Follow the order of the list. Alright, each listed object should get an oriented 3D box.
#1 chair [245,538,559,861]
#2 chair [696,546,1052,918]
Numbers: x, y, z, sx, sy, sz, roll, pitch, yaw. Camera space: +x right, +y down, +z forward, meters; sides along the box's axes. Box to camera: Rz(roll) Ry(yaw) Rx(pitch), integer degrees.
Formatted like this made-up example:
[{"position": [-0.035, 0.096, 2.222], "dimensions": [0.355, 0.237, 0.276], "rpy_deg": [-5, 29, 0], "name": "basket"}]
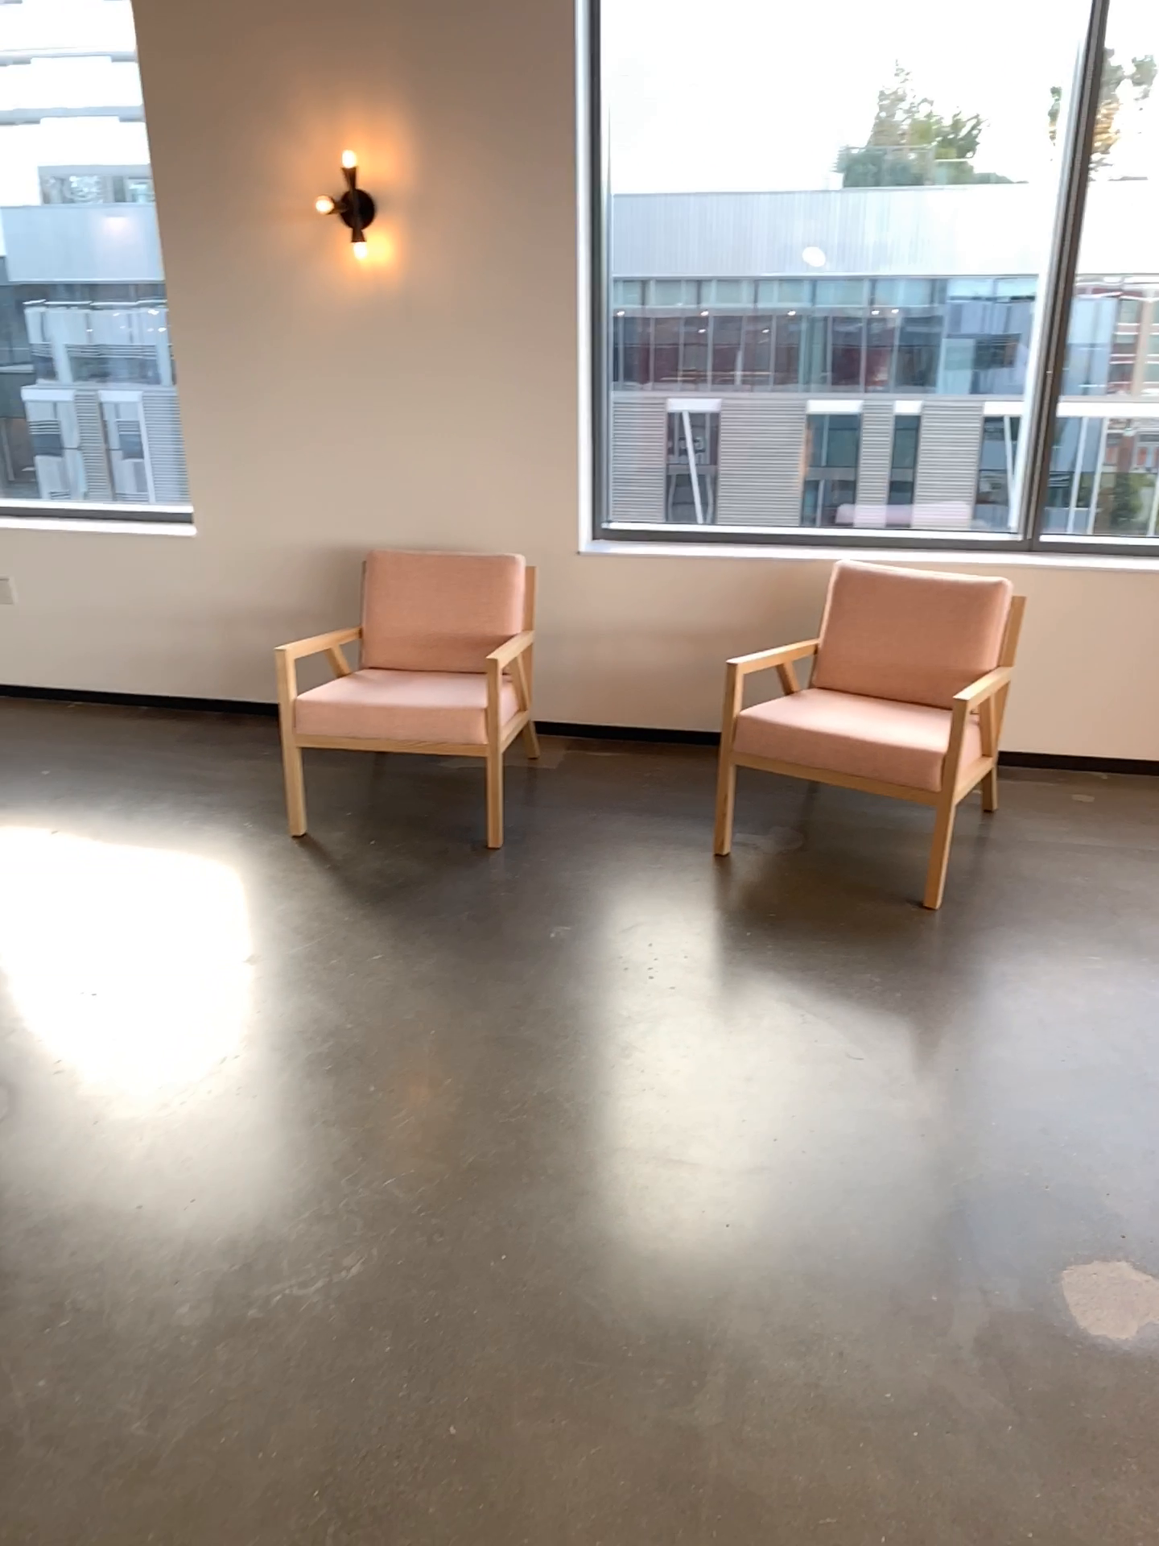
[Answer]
[{"position": [-0.516, -0.275, 3.821], "dimensions": [0.741, 0.796, 0.774], "rpy_deg": [4, 22, 11], "name": "chair"}, {"position": [0.866, -0.178, 3.493], "dimensions": [0.742, 0.796, 0.772], "rpy_deg": [13, 24, 30], "name": "chair"}]
